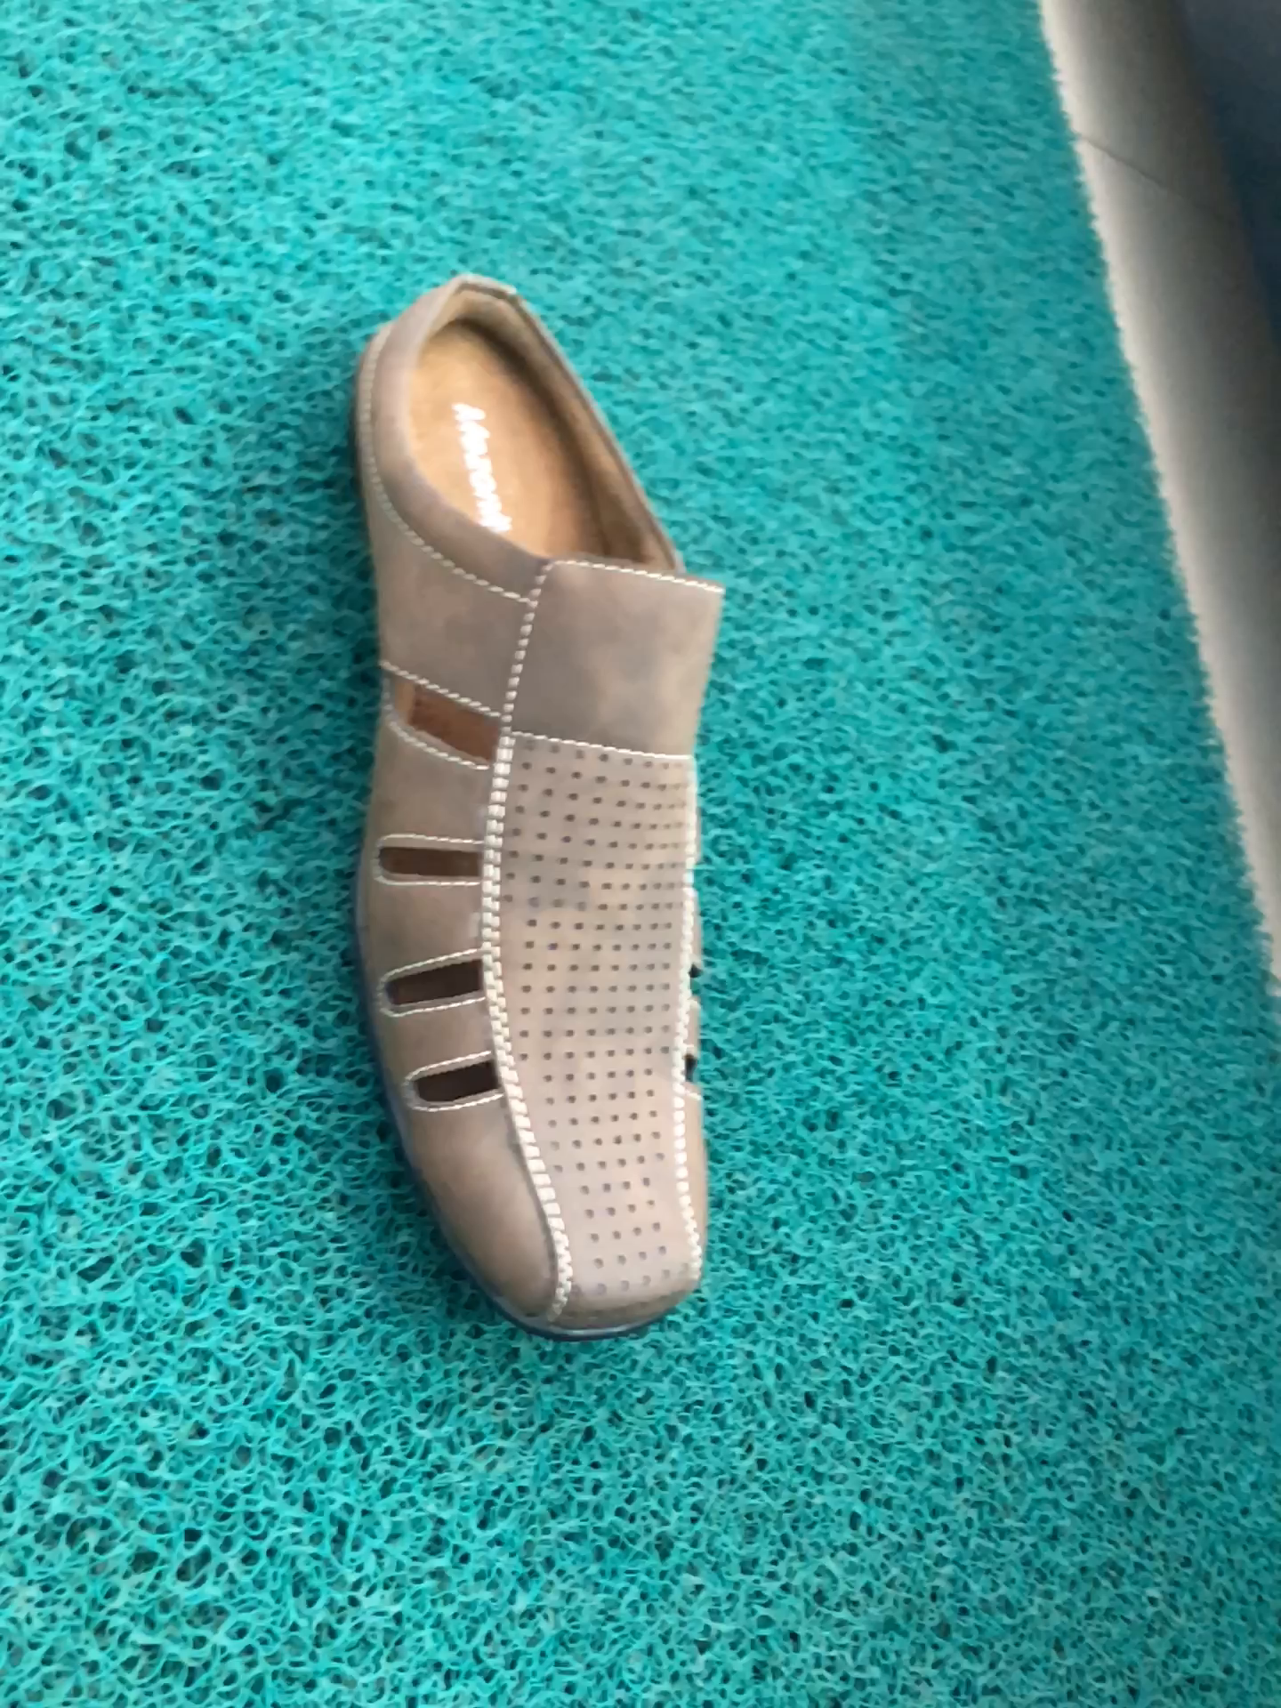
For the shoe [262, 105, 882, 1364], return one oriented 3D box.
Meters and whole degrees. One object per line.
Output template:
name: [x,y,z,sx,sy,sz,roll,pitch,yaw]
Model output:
shoe: [-0.026,-0.032,0.361,0.091,0.070,0.290,1,71,-36]
